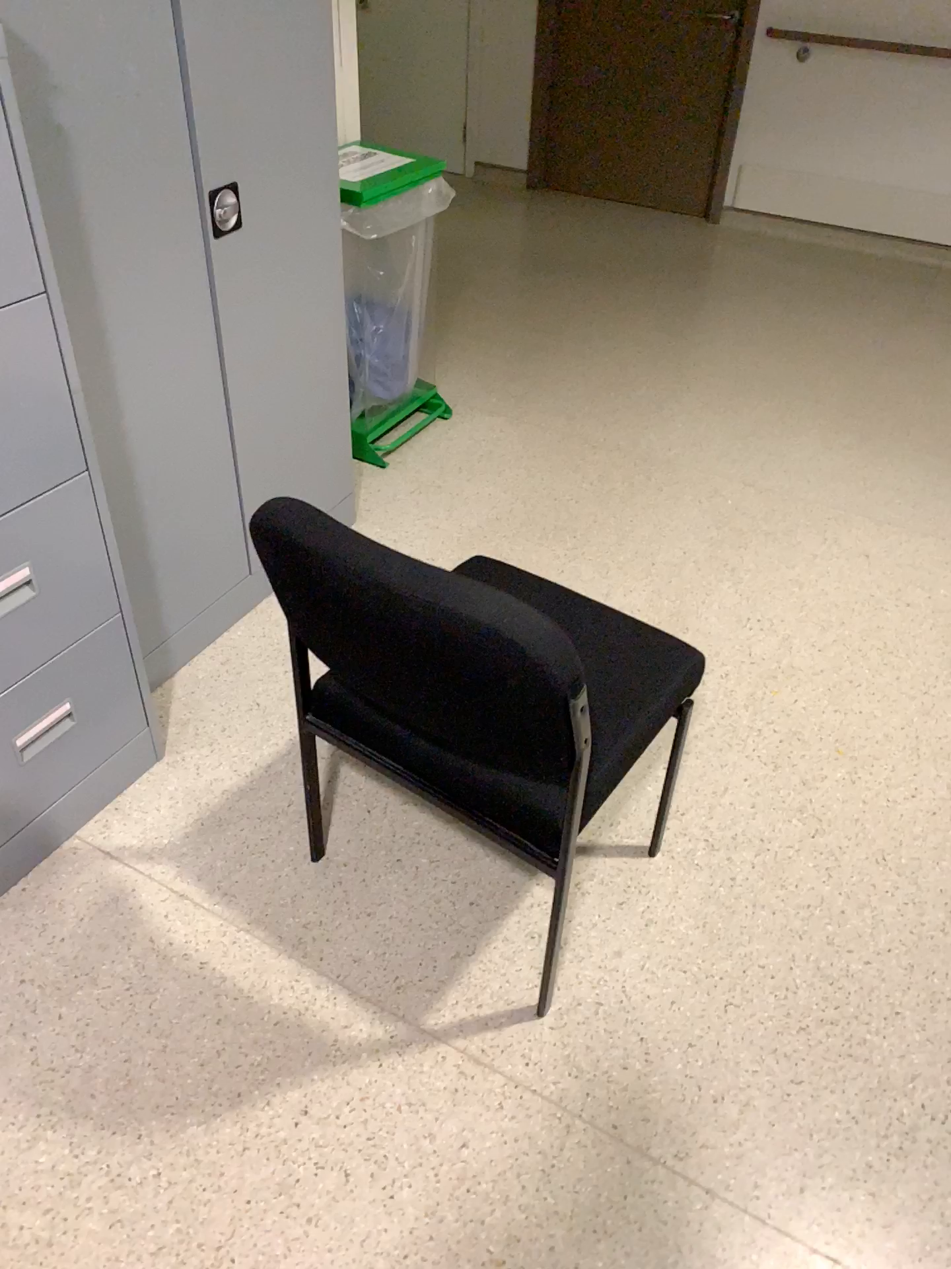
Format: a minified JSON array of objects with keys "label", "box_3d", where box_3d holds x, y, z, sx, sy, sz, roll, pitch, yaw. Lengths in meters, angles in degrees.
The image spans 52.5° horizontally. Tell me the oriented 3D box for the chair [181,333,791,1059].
[{"label":"chair","box_3d":[0.017,0.079,1.614,0.632,0.851,0.594,25,44,25]}]
